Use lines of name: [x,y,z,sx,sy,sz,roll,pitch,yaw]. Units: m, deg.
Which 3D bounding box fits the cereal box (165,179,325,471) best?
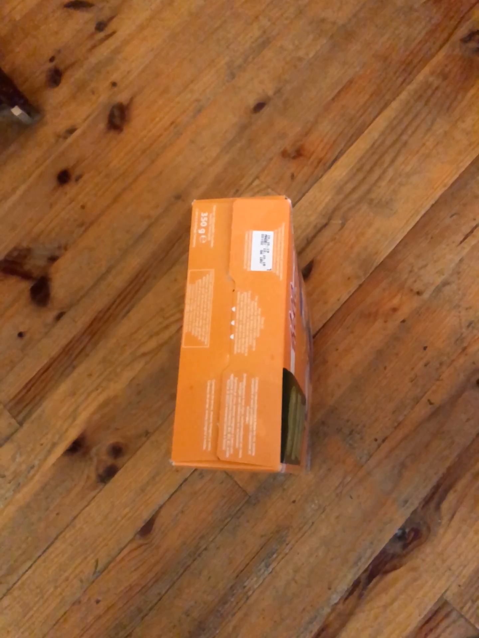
cereal box: [0.029,0.037,0.503,0.090,0.300,0.200,0,74,11]
